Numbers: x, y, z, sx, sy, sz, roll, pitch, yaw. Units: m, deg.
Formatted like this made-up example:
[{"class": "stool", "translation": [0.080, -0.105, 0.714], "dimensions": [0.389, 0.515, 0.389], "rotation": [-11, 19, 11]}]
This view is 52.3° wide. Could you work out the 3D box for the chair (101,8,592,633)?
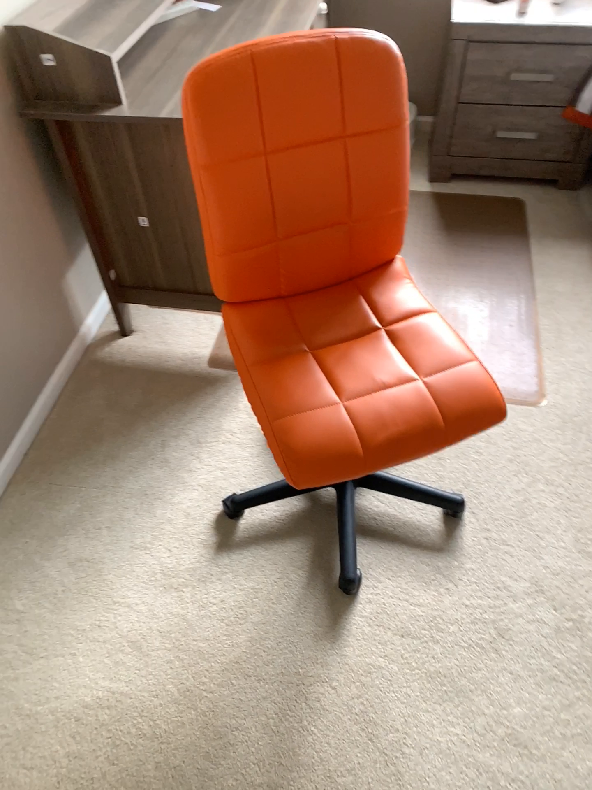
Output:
[{"class": "chair", "translation": [0.097, -0.109, 1.179], "dimensions": [0.614, 0.901, 0.621], "rotation": [-17, 50, -13]}]
